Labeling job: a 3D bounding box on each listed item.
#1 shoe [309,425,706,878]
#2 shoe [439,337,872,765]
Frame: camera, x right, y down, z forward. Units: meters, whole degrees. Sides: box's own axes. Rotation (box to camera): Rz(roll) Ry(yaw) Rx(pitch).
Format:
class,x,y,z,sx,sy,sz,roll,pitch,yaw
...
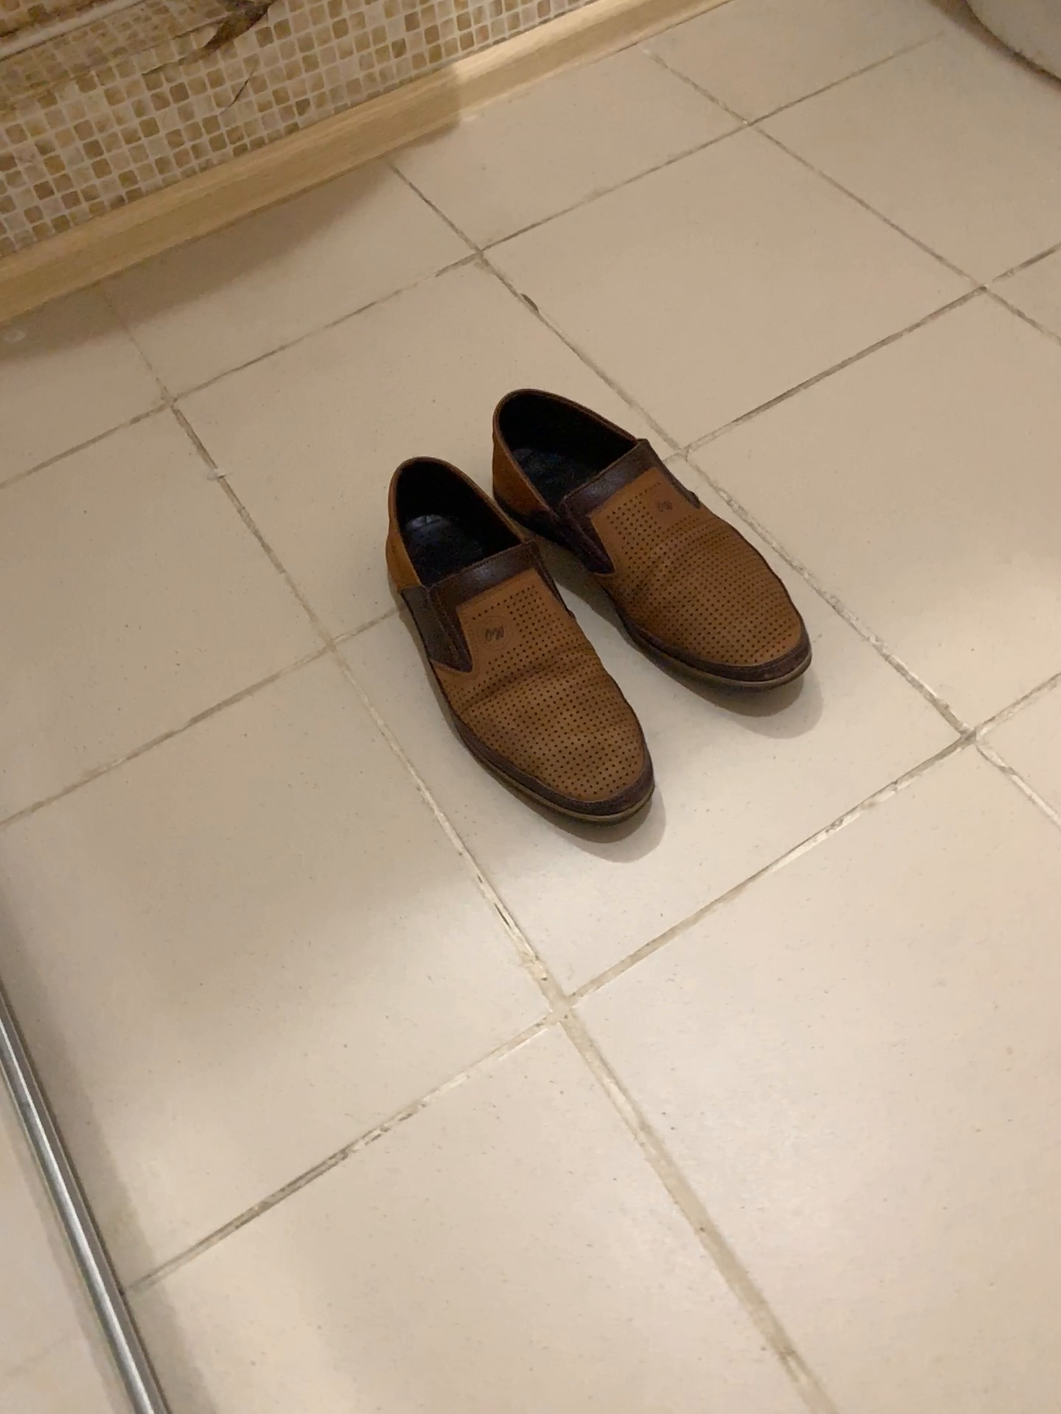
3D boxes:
class,x,y,z,sx,sy,sz,roll,pitch,yaw
shoe,-0.020,-0.044,0.669,0.110,0.080,0.271,-30,60,-12
shoe,0.072,-0.112,0.720,0.110,0.090,0.291,-34,61,-14
